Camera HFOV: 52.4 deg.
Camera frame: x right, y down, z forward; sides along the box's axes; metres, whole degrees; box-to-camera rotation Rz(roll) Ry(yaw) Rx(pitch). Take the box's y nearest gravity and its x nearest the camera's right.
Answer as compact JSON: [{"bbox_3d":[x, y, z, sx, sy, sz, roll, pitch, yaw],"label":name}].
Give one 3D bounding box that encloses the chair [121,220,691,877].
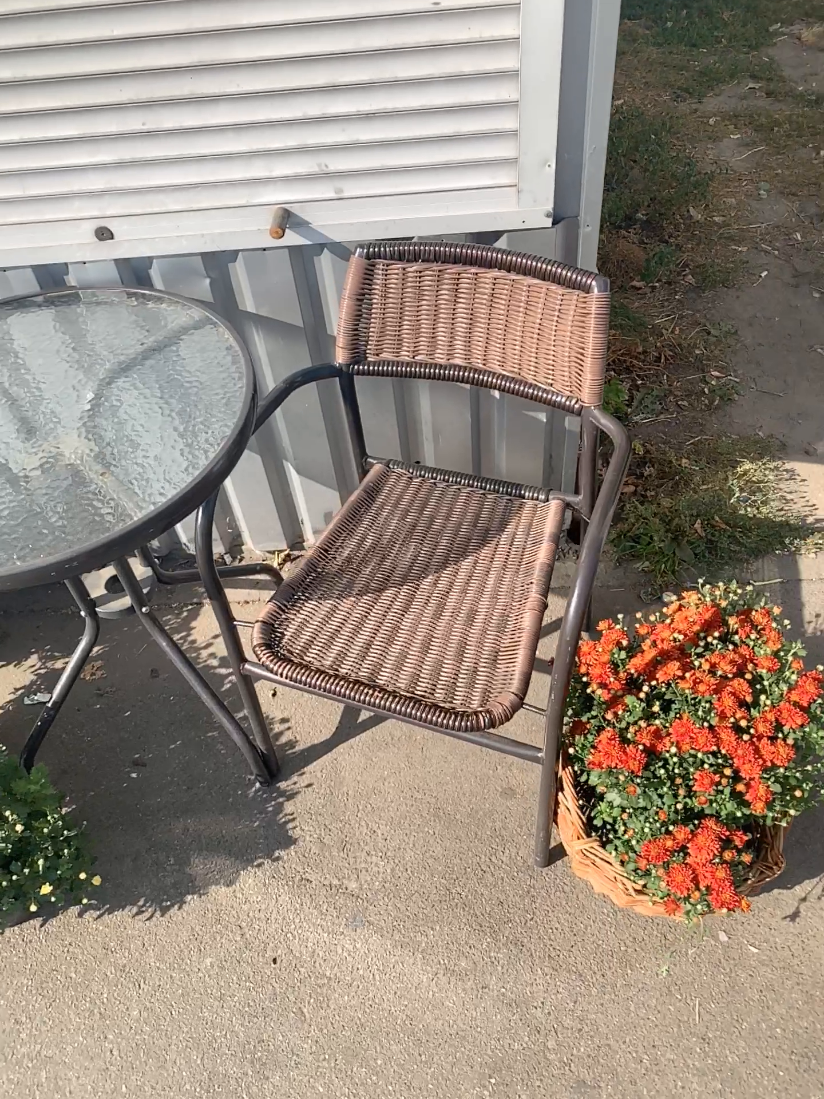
[{"bbox_3d":[0.064,-0.009,1.386,0.571,0.717,0.692,12,51,15],"label":"chair"}]
